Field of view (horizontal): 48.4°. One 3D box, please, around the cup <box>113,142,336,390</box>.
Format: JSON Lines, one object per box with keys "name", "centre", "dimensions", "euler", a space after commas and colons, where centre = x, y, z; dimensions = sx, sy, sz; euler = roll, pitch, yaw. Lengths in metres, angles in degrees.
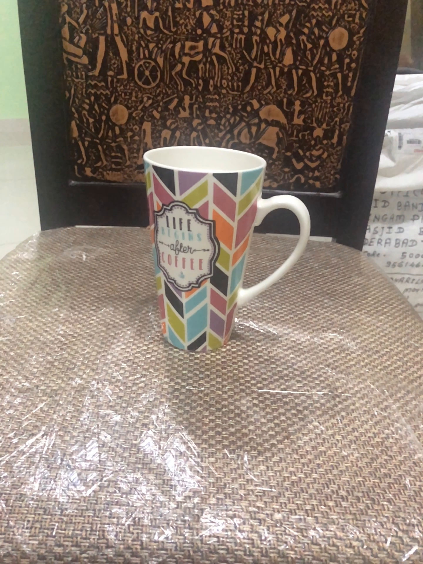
{"name": "cup", "centre": [0.009, -0.020, 0.350], "dimensions": [0.130, 0.139, 0.090], "euler": [12, 26, 17]}
